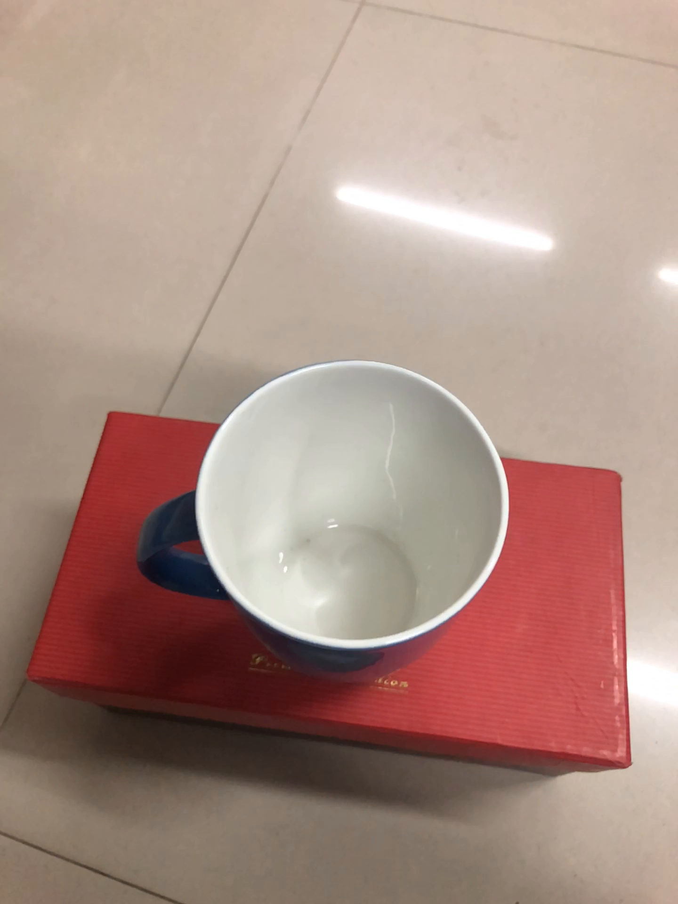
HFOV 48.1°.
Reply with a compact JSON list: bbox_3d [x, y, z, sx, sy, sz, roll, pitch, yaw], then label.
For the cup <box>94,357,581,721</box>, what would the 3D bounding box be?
[{"bbox_3d":[-0.001,0.030,0.225,0.110,0.080,0.080,-2,63,-1],"label":"cup"}]
